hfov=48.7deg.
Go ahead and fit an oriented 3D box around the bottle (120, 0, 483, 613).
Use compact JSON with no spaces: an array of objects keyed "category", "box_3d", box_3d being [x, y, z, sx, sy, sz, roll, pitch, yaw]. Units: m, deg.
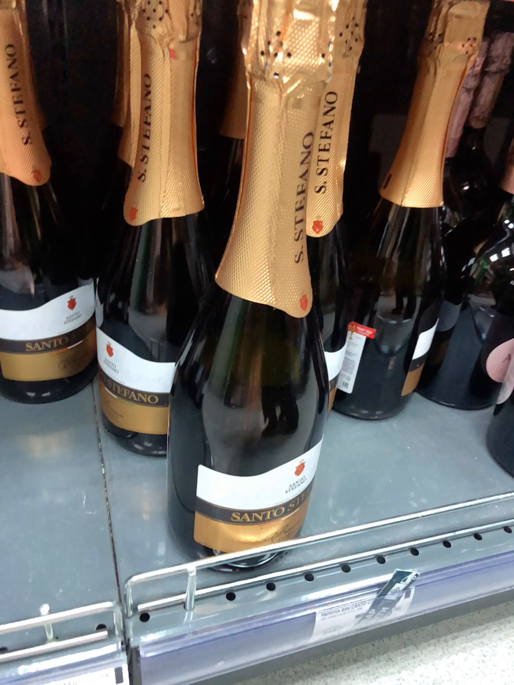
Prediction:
[{"category":"bottle","box_3d":[0.003,-0.013,0.288,0.100,0.298,0.090,-22,42,-37]}]
